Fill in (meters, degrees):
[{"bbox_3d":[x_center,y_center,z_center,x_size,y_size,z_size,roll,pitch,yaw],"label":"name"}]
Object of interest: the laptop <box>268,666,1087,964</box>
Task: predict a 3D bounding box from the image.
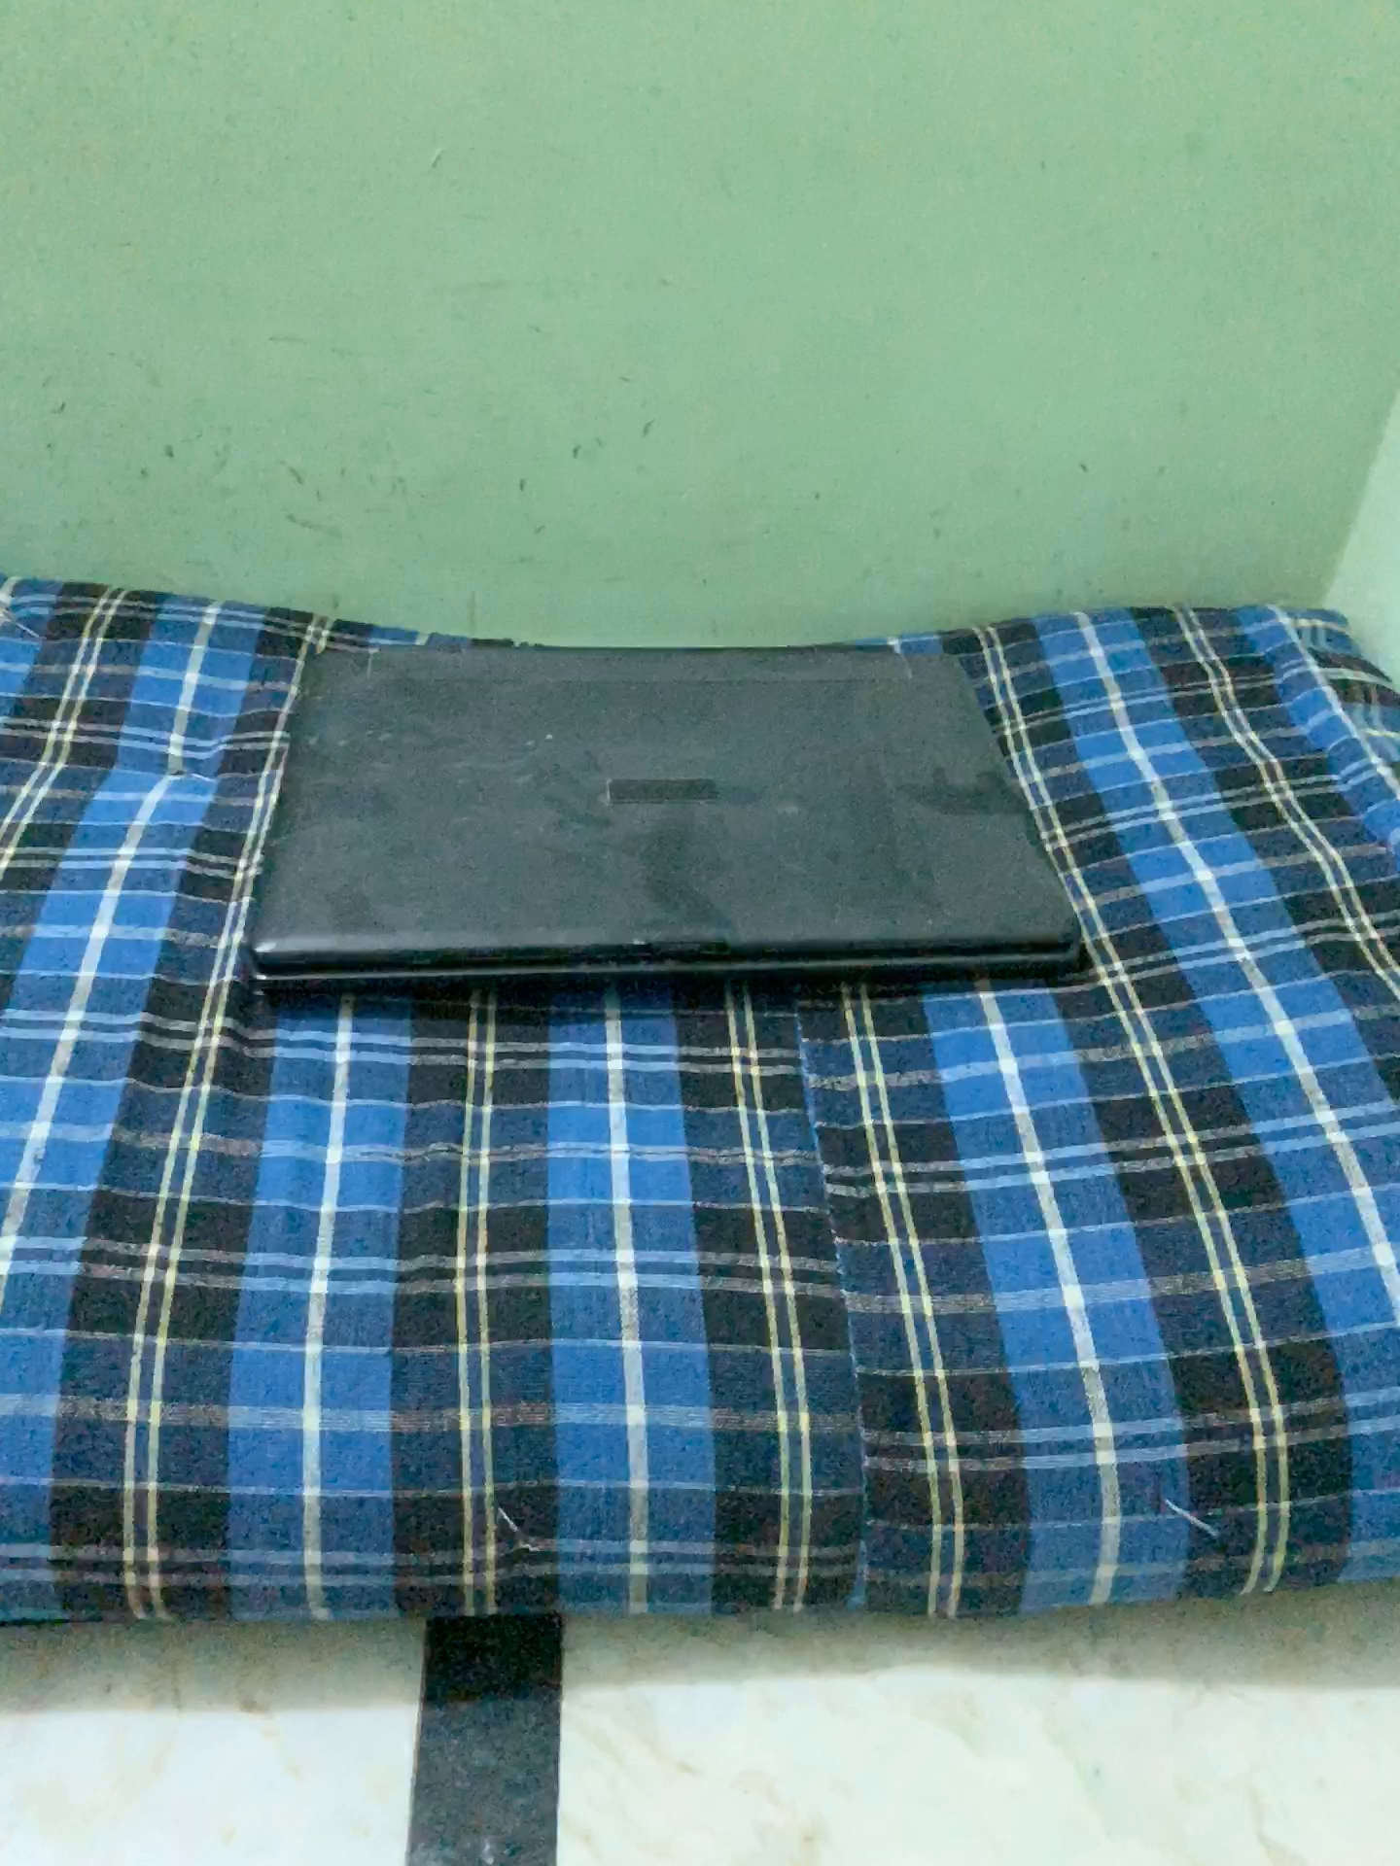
[{"bbox_3d":[-0.015,-0.063,0.645,0.323,0.005,0.216,-1,40,-7],"label":"laptop"}]
